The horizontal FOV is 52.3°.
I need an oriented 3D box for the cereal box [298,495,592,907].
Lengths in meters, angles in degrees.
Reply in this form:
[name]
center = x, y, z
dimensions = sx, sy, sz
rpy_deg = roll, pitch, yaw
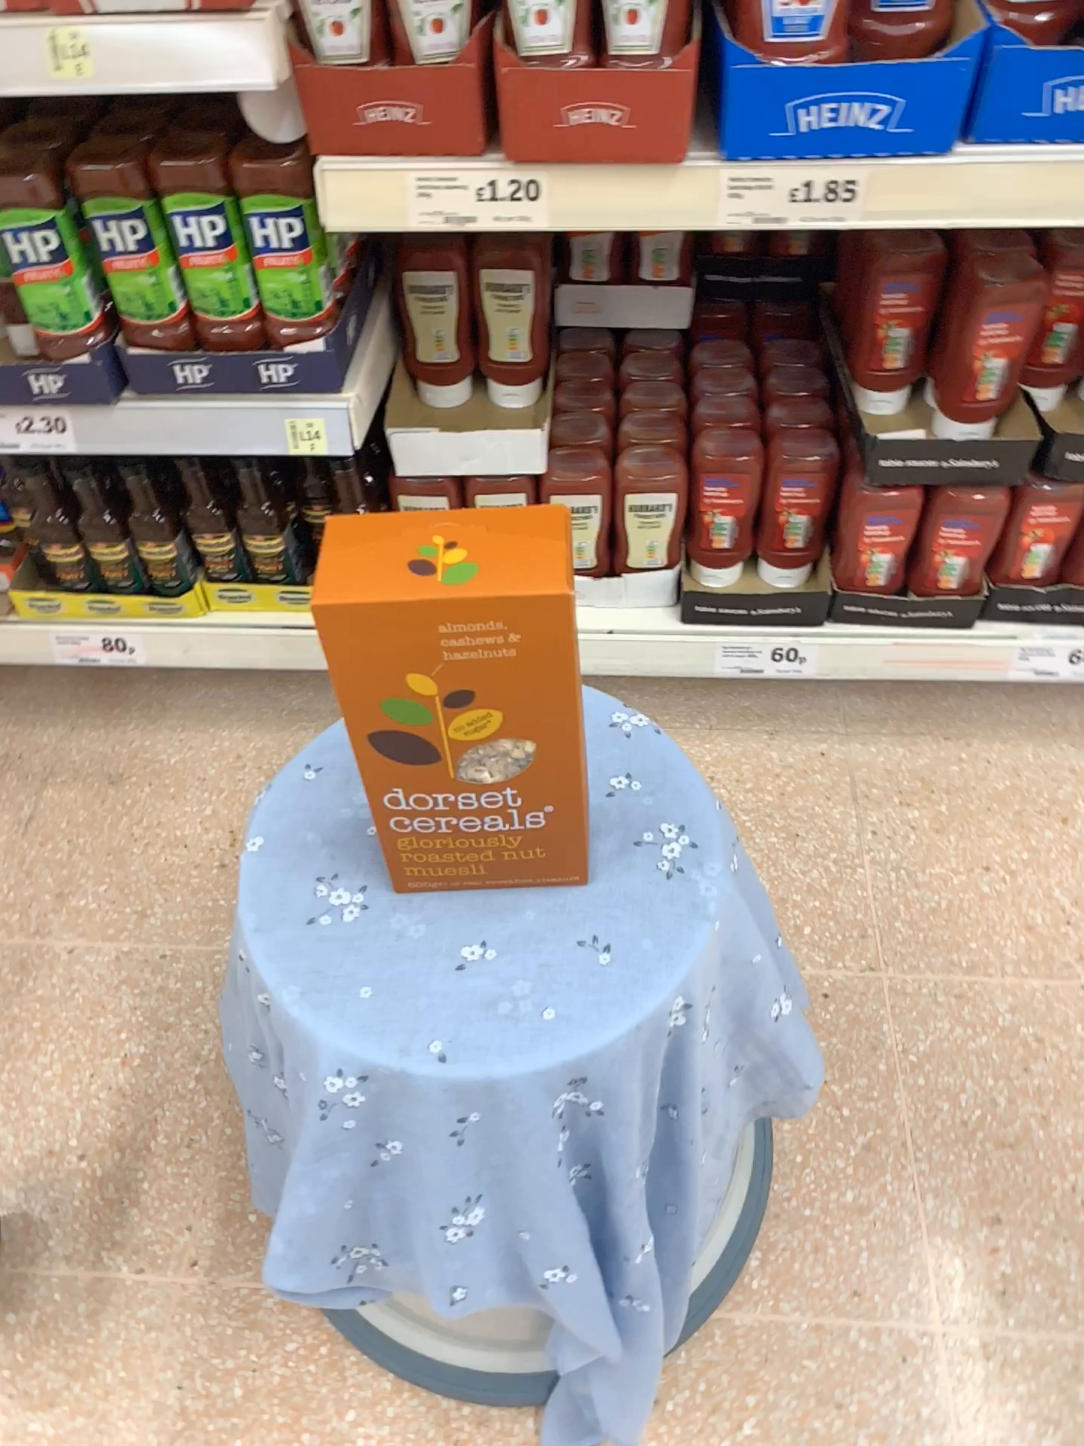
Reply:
[cereal box]
center = -0.037, 0.001, 0.565
dimensions = 0.120, 0.228, 0.071
rpy_deg = -2, 48, 1
